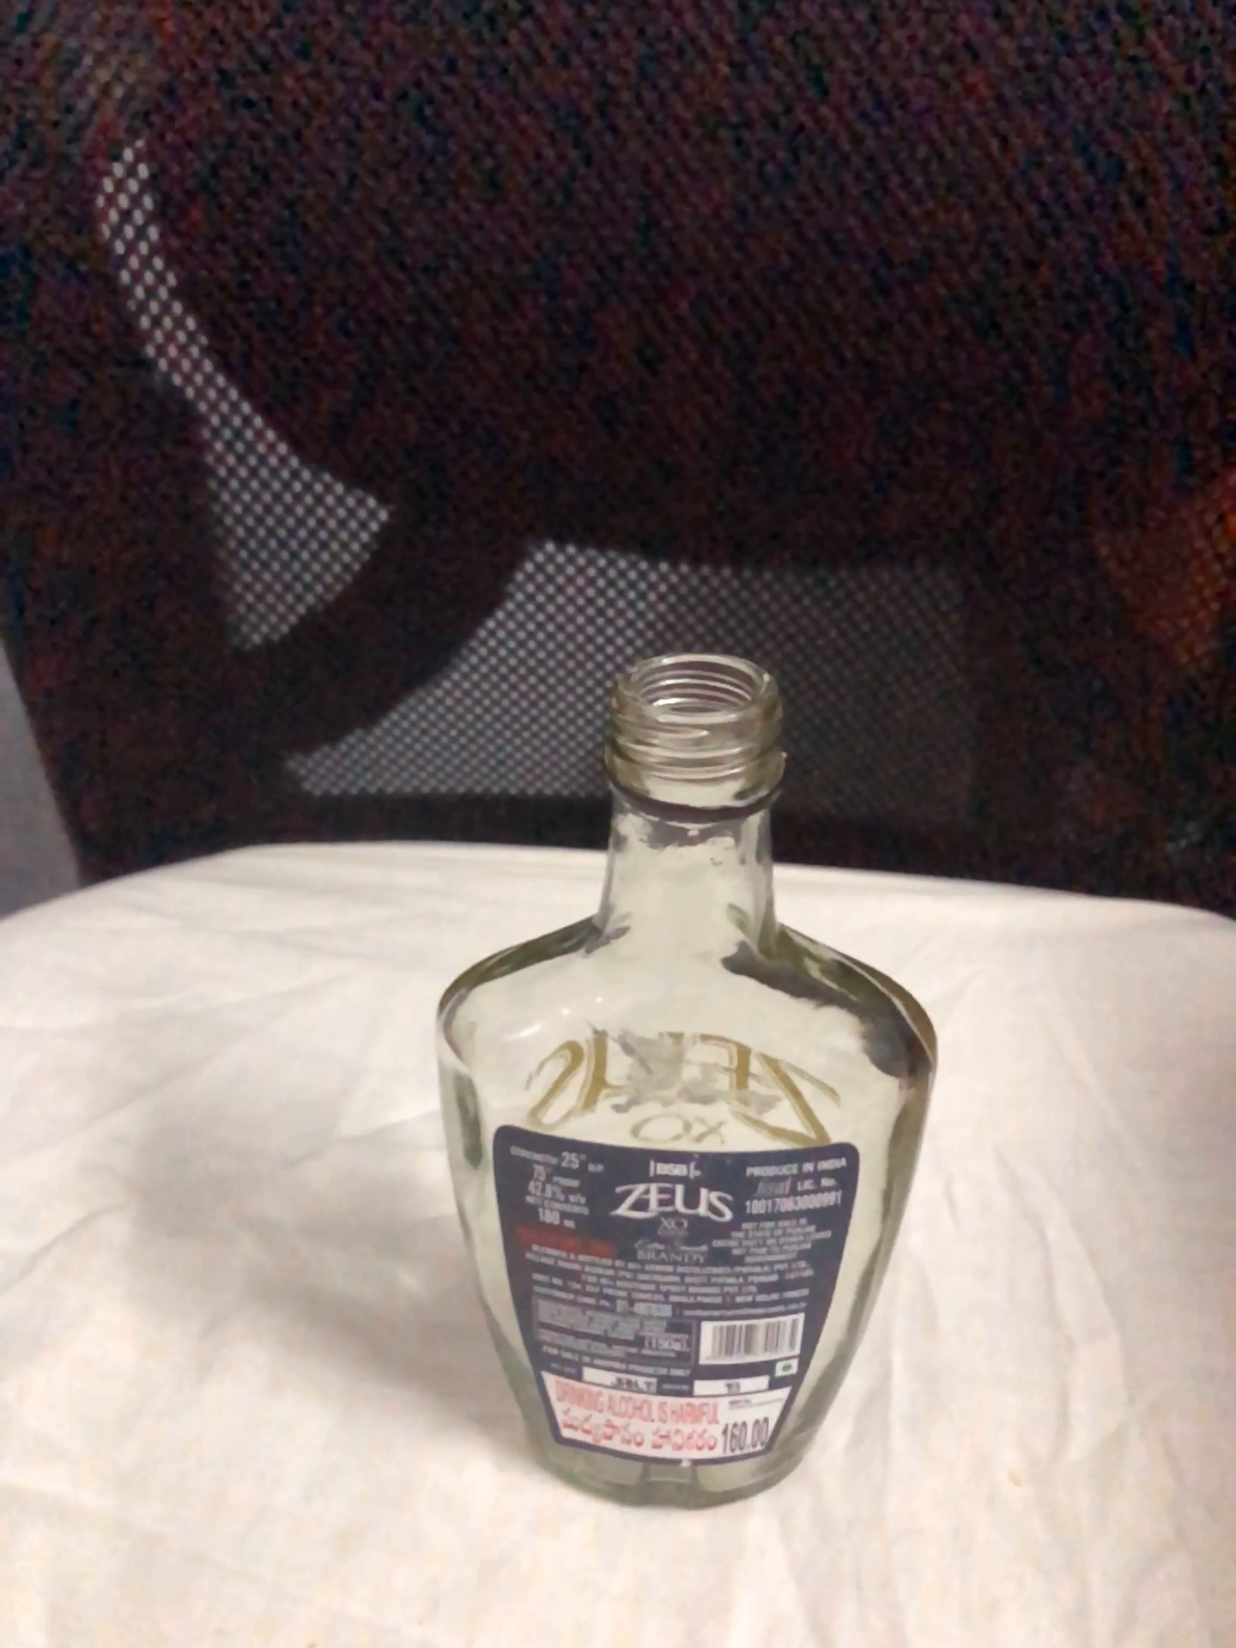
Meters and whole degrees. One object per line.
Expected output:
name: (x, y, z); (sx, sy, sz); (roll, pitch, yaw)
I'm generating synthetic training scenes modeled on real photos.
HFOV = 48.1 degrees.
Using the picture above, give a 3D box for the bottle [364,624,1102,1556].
bottle: (0.013, 0.052, 0.234); (0.090, 0.159, 0.050); (3, 34, 3)
